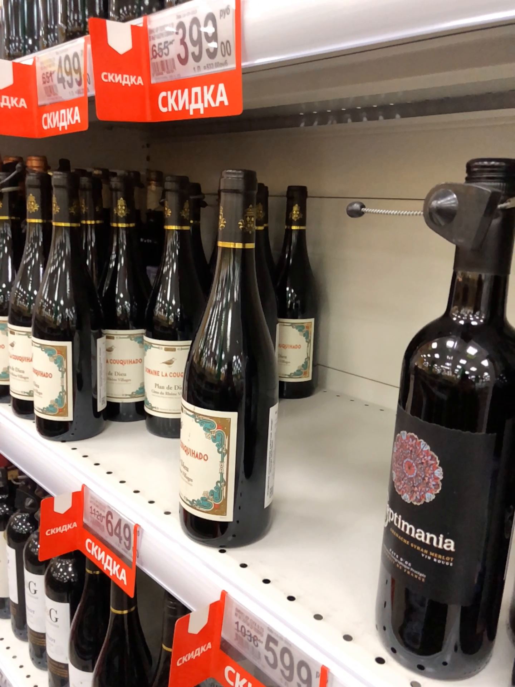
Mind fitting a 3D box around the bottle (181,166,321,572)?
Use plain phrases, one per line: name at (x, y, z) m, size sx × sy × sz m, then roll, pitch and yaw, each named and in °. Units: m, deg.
bottle at (-0.013, 0.018, 0.461) m, size 0.080 × 0.302 × 0.090 m, roll -2°, pitch 14°, yaw -18°
